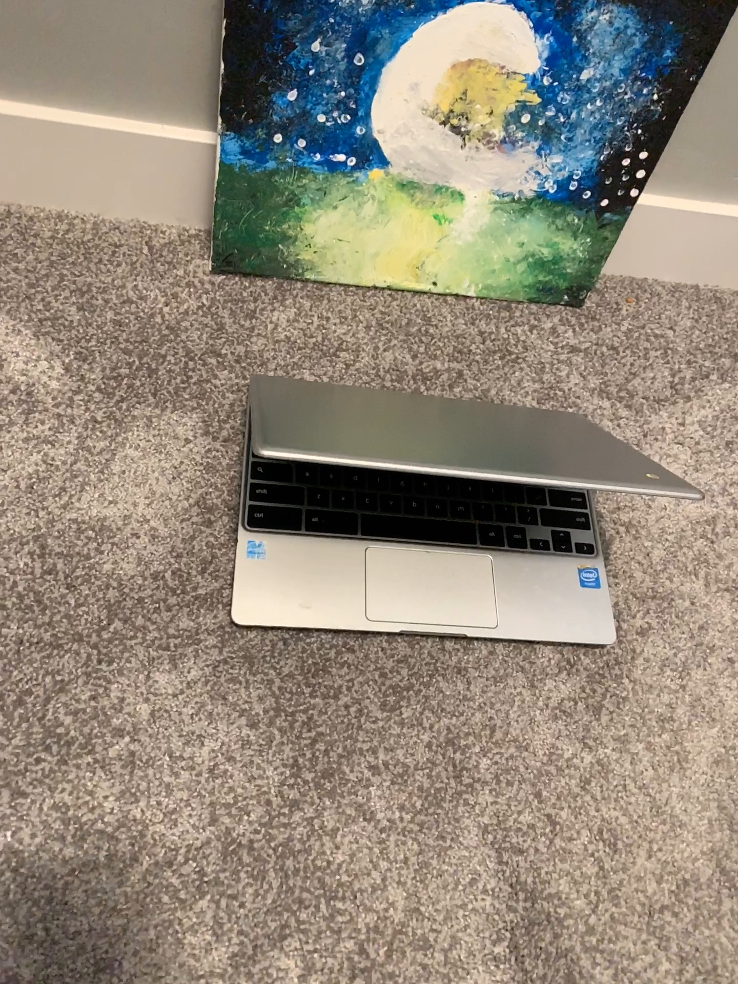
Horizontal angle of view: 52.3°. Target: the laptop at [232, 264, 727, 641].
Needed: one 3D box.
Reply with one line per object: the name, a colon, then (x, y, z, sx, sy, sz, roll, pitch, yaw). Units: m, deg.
laptop: (0.062, -0.016, 0.542, 0.294, 0.144, 0.200, 5, 63, -12)
